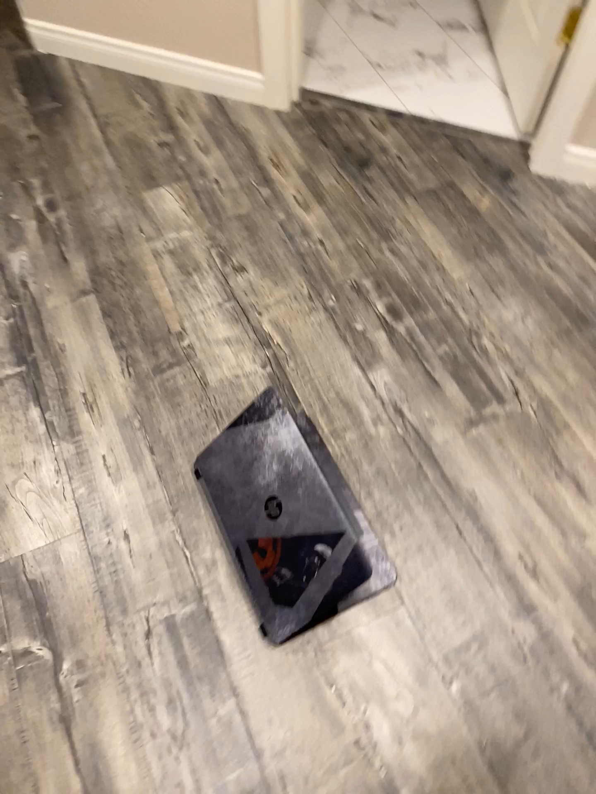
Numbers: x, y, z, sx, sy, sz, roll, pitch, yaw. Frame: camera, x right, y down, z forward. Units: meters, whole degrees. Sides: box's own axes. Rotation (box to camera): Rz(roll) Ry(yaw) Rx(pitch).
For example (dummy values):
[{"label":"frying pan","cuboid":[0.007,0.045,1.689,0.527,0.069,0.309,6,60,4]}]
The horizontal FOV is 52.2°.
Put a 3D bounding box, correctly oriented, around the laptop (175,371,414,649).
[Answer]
[{"label":"laptop","cuboid":[-0.017,0.190,1.066,0.250,0.177,0.375,-23,62,-13]}]
